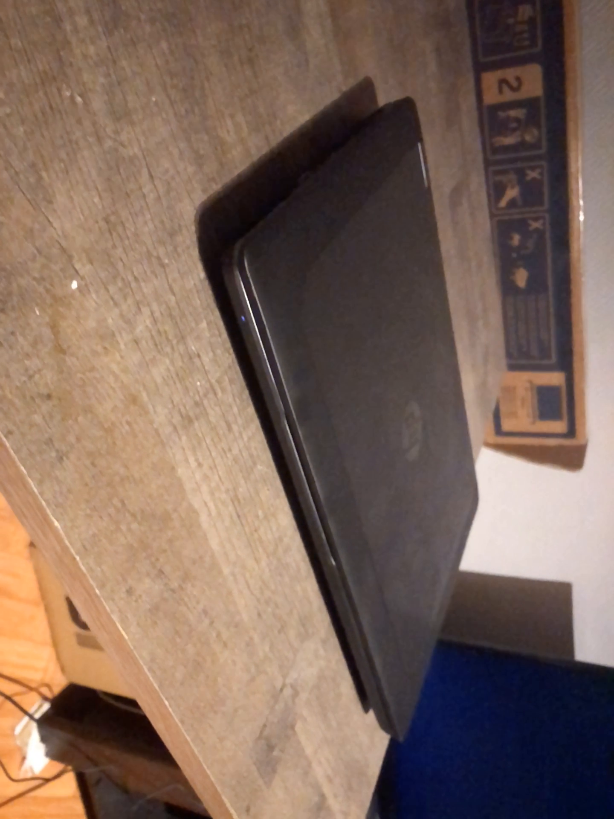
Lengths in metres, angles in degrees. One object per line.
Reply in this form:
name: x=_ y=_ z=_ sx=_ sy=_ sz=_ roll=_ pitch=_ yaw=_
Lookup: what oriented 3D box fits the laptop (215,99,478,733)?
laptop: x=0.062 y=0.010 z=0.473 sx=0.241 sy=0.017 sz=0.366 roll=-57 pitch=139 yaw=-45
